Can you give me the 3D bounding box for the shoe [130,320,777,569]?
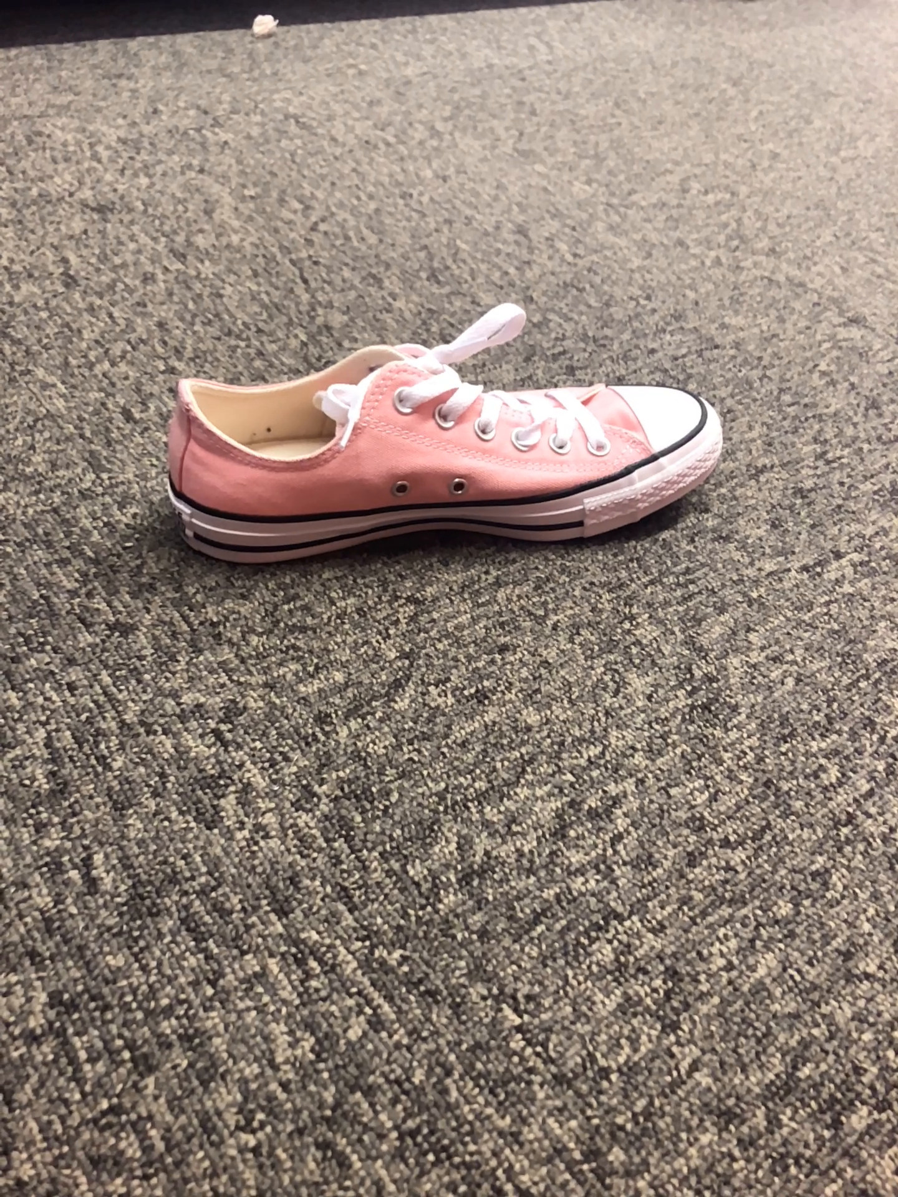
[{"bbox_3d":[0.001,-0.080,0.467,0.281,0.060,0.100,-5,43,-19],"label":"shoe"}]
